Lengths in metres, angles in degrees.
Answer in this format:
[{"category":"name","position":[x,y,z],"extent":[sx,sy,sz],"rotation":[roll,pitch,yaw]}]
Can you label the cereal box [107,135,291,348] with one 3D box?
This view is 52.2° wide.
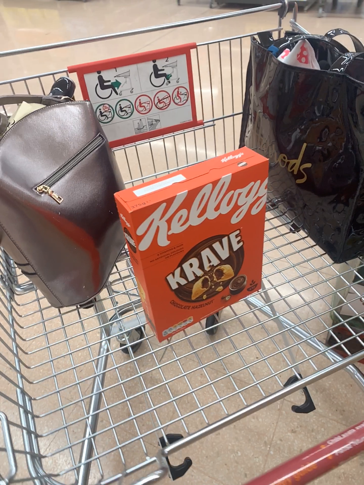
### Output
[{"category":"cereal box","position":[0.032,0.004,0.485],"extent":[0.210,0.228,0.050],"rotation":[-23,43,-20]}]
